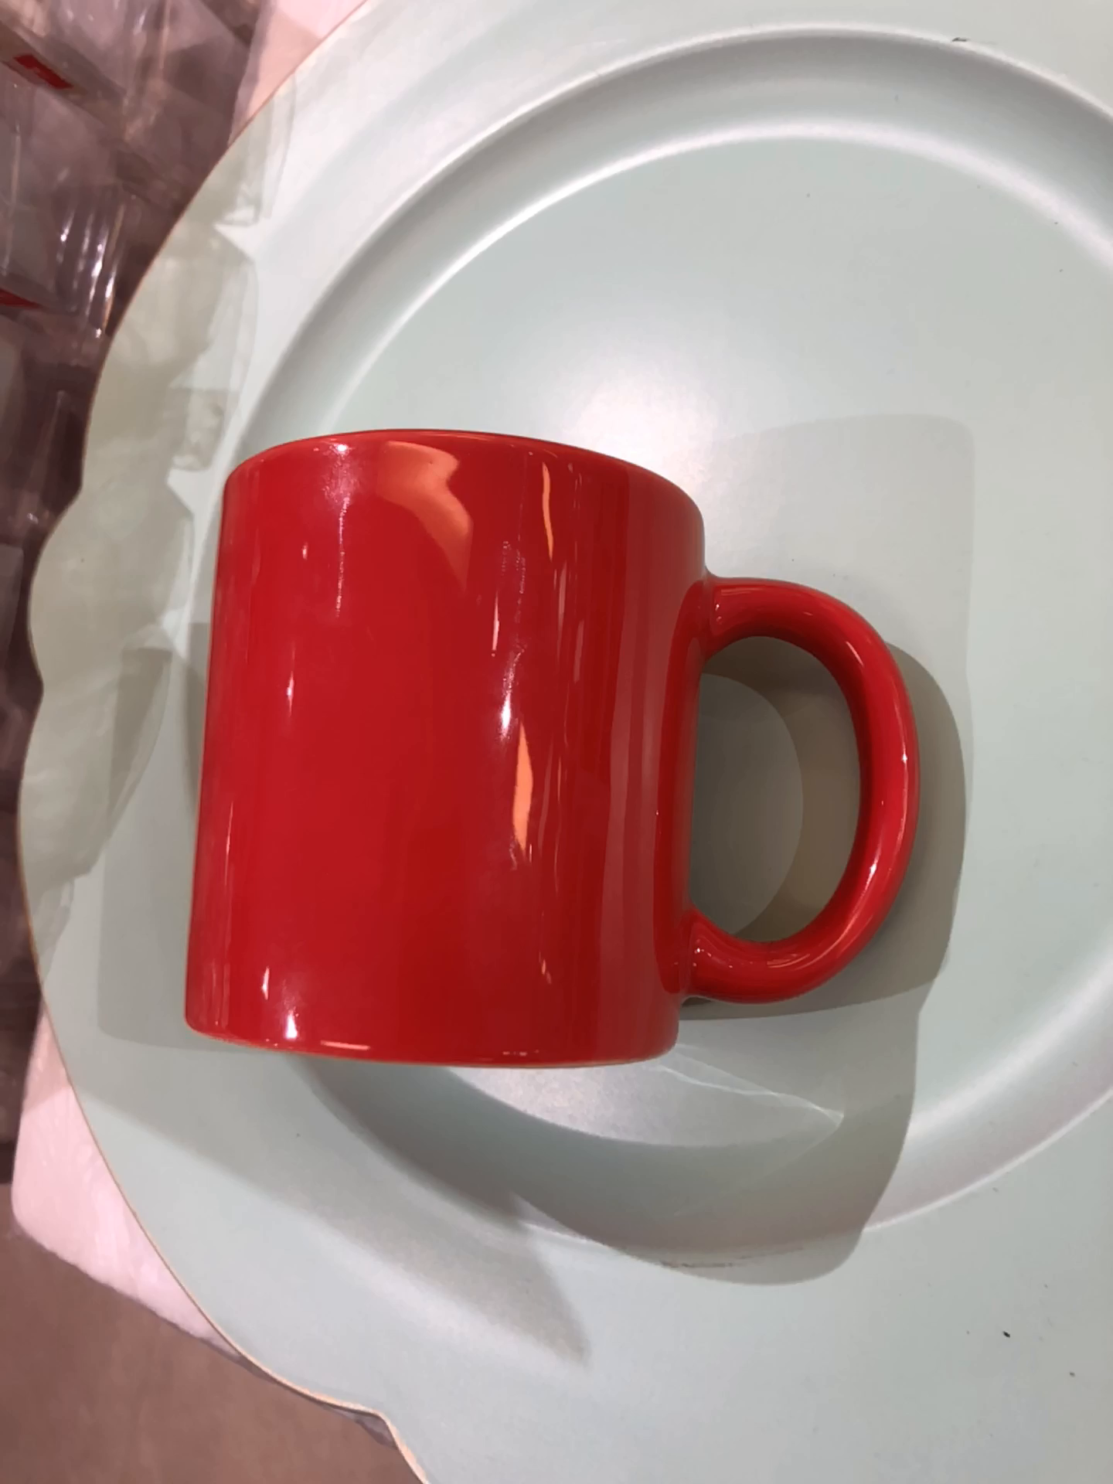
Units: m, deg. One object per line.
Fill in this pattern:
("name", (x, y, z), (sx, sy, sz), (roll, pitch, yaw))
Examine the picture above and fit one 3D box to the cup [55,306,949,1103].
("cup", (-0.005, -0.002, 0.191), (0.110, 0.060, 0.100), (0, 81, -2))
